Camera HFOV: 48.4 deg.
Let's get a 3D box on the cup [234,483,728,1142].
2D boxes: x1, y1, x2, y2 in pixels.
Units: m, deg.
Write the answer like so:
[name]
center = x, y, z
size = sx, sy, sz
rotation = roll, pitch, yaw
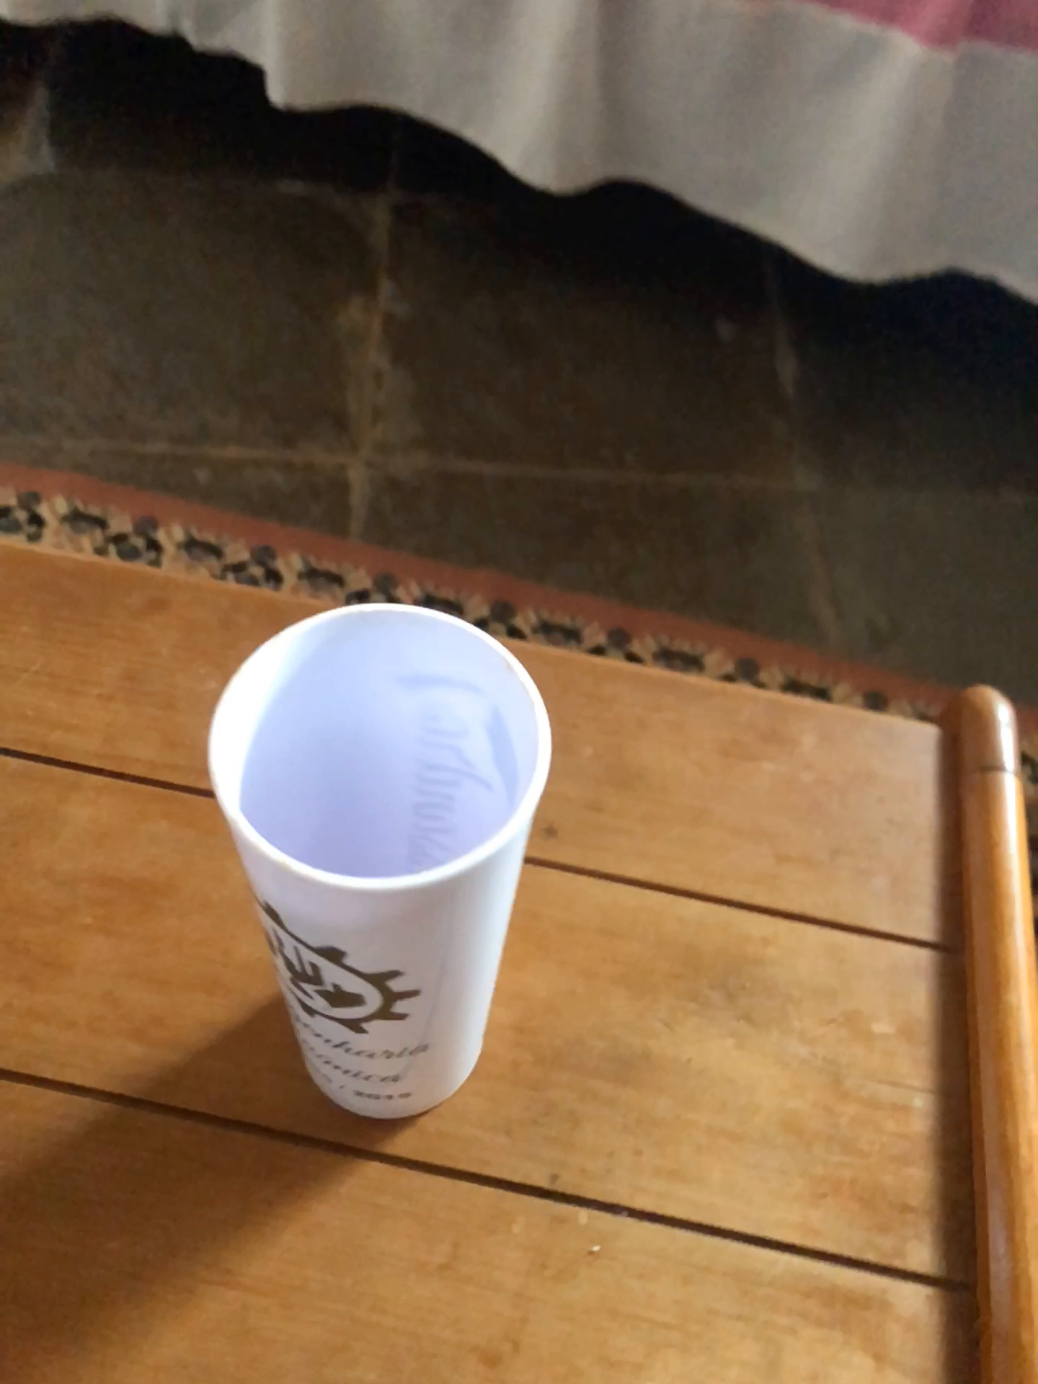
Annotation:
[cup]
center = -0.010, 0.041, 0.277
size = 0.070, 0.159, 0.070
rotation = 3, 55, -4
